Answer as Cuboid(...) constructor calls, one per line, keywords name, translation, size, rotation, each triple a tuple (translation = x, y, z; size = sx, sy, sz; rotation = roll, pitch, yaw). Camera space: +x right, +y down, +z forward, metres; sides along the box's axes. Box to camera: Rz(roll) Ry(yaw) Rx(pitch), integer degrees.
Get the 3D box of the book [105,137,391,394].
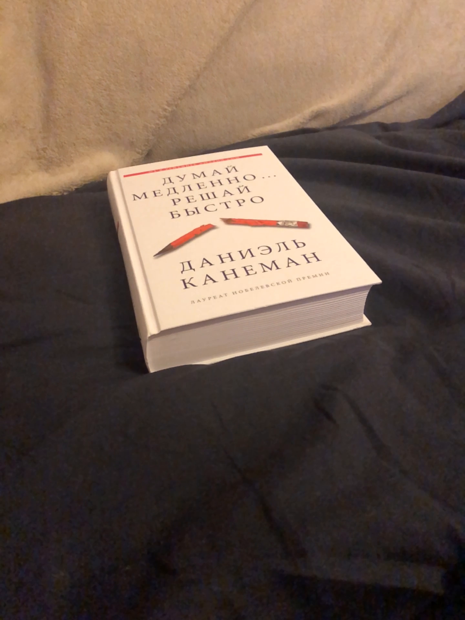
Cuboid(name="book", translation=(-0.007, -0.053, 0.385), size=(0.149, 0.050, 0.221), rotation=(-12, 42, -10))
